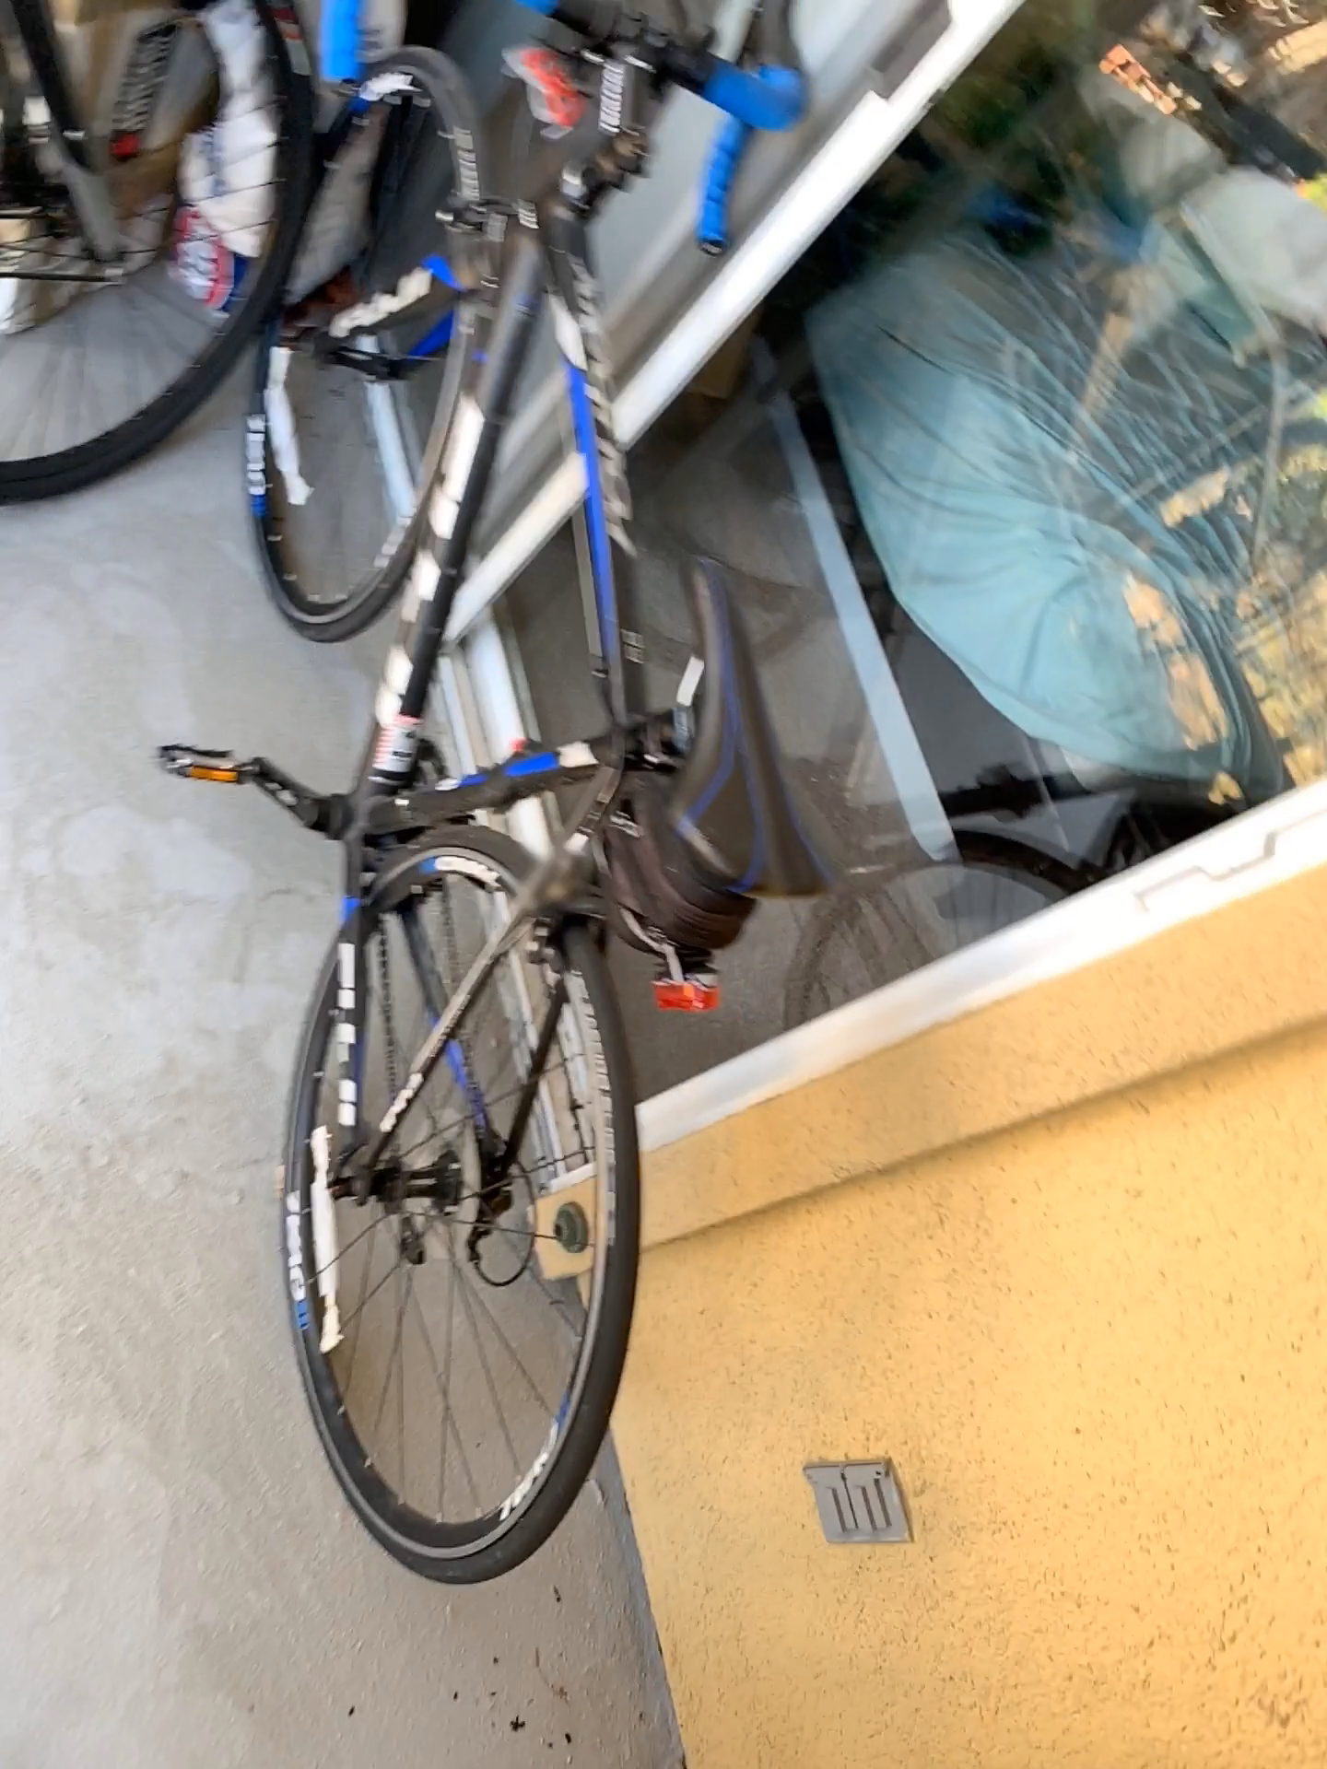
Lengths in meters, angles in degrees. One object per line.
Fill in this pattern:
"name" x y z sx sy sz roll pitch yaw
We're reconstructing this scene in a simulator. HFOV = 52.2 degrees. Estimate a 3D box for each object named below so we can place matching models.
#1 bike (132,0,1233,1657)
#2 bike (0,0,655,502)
"bike" -0.163 -0.202 1.240 0.363 0.934 1.503 4 69 -36
"bike" -0.948 -0.851 0.973 1.588 0.973 0.622 -12 75 -42
